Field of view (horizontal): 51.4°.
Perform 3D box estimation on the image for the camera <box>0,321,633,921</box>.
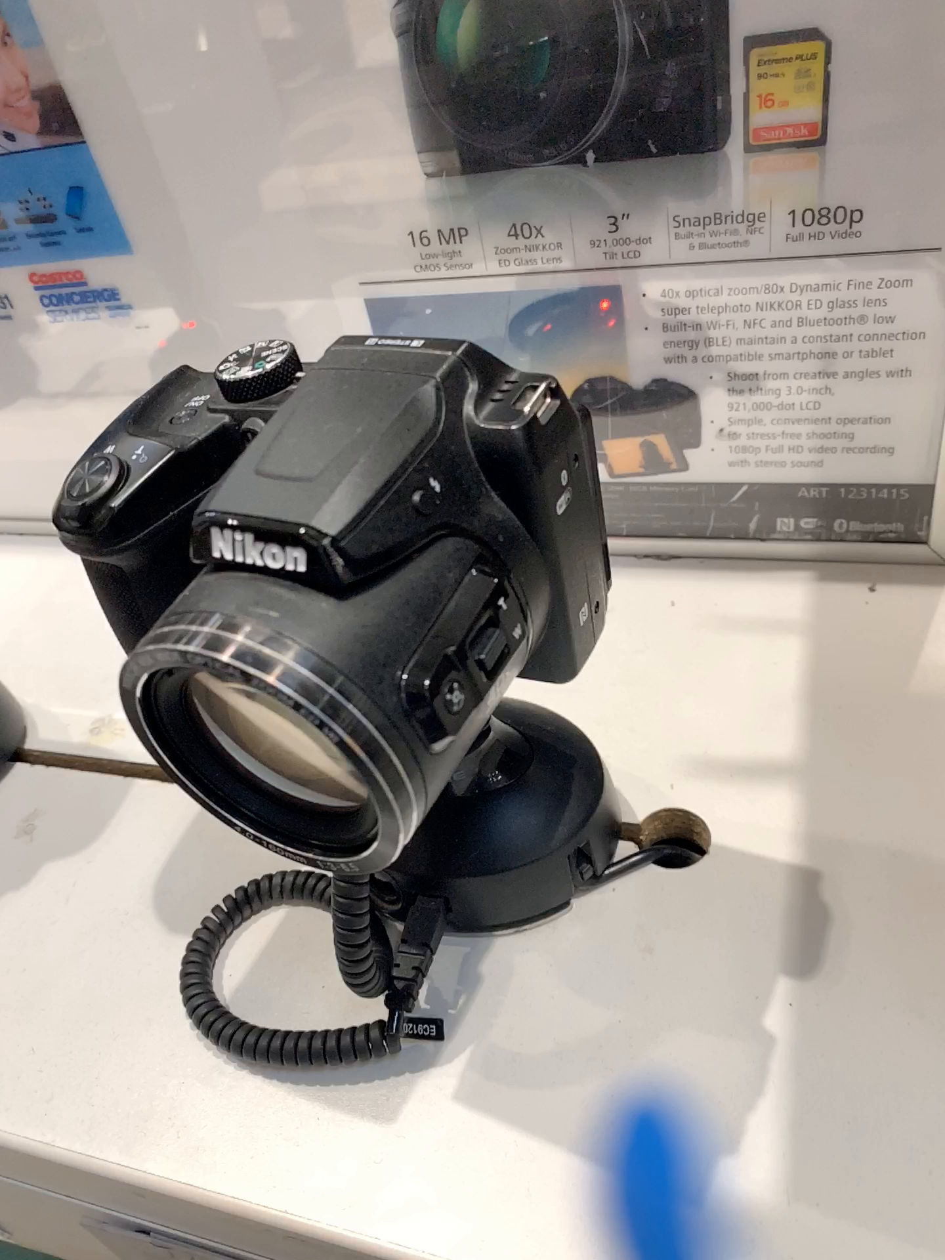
[{"bbox_3d":[-0.033,-0.006,0.196,0.110,0.089,0.060,8,44,23],"label":"camera"}]
